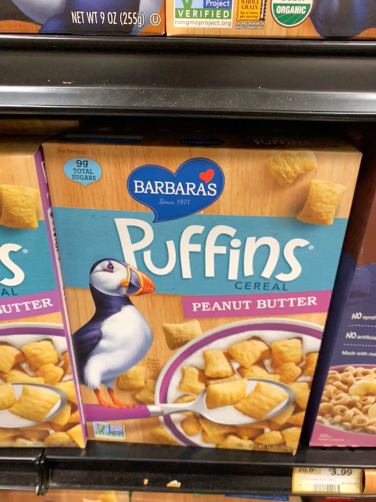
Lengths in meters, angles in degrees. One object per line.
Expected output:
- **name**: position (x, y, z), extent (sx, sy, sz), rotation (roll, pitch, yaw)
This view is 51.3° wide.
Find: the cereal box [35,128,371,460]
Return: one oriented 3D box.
- **cereal box**: position (0.006, 0.042, 0.318), extent (0.200, 0.259, 0.070), rotation (2, 24, 2)
